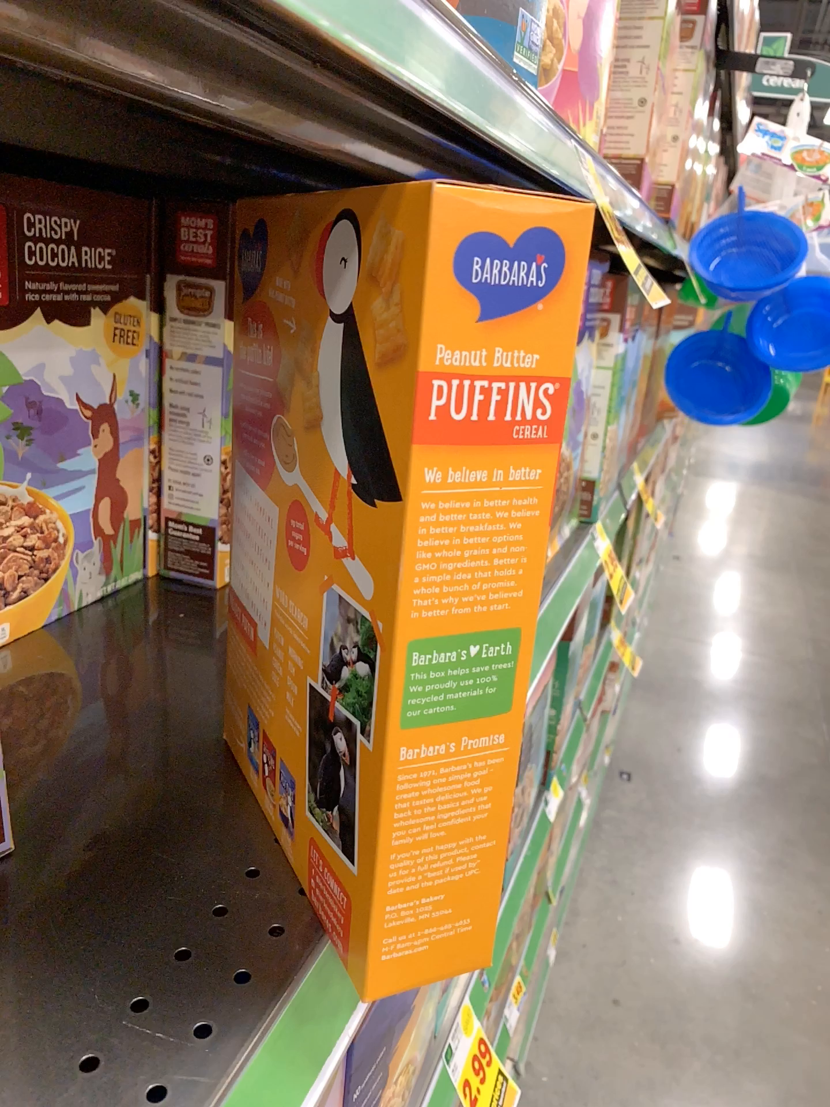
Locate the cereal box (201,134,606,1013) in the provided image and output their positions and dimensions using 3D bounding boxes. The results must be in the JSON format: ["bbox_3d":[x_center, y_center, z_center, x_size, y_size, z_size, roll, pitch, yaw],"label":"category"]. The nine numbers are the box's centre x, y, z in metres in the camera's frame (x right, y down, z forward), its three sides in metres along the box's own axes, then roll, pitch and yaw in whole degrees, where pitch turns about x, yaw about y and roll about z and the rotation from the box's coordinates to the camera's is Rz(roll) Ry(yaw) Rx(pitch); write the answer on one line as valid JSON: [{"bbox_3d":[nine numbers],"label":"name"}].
[{"bbox_3d":[-0.031,-0.009,0.363,0.060,0.279,0.221,-5,20,-27],"label":"cereal box"}]
